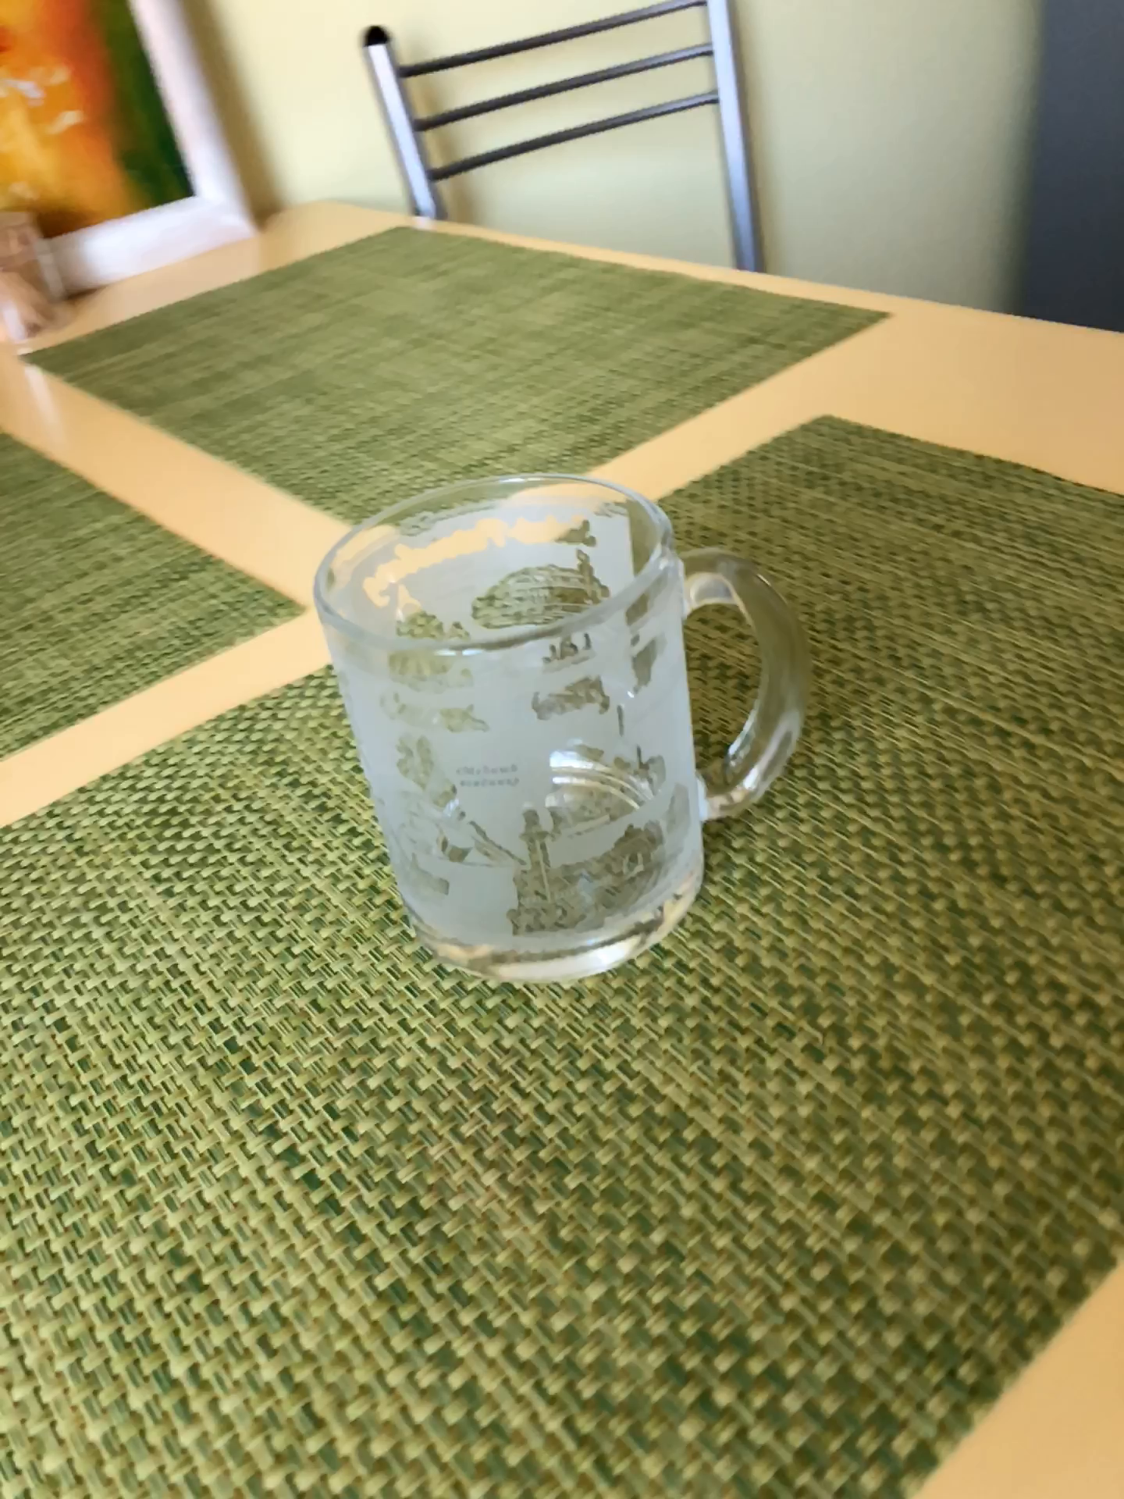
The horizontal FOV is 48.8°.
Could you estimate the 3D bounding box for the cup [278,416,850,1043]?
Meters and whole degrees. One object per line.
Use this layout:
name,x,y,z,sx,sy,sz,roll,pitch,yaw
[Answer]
cup,0.000,-0.009,0.299,0.109,0.096,0.088,-14,35,-7
